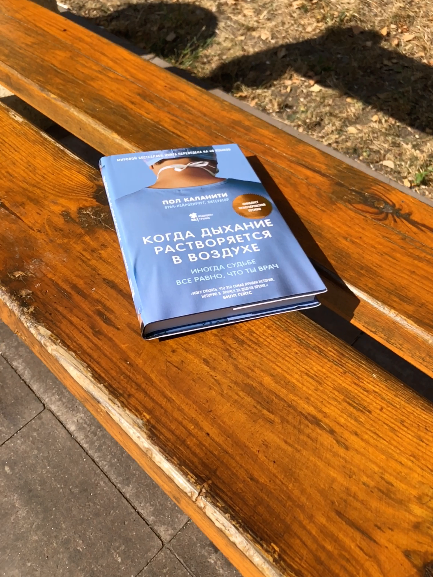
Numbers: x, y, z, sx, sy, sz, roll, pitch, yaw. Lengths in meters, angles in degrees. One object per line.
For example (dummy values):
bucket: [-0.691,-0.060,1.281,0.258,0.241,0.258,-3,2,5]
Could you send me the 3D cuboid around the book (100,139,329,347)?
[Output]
book: [-0.015,-0.055,0.410,0.140,0.025,0.211,-10,49,-14]
